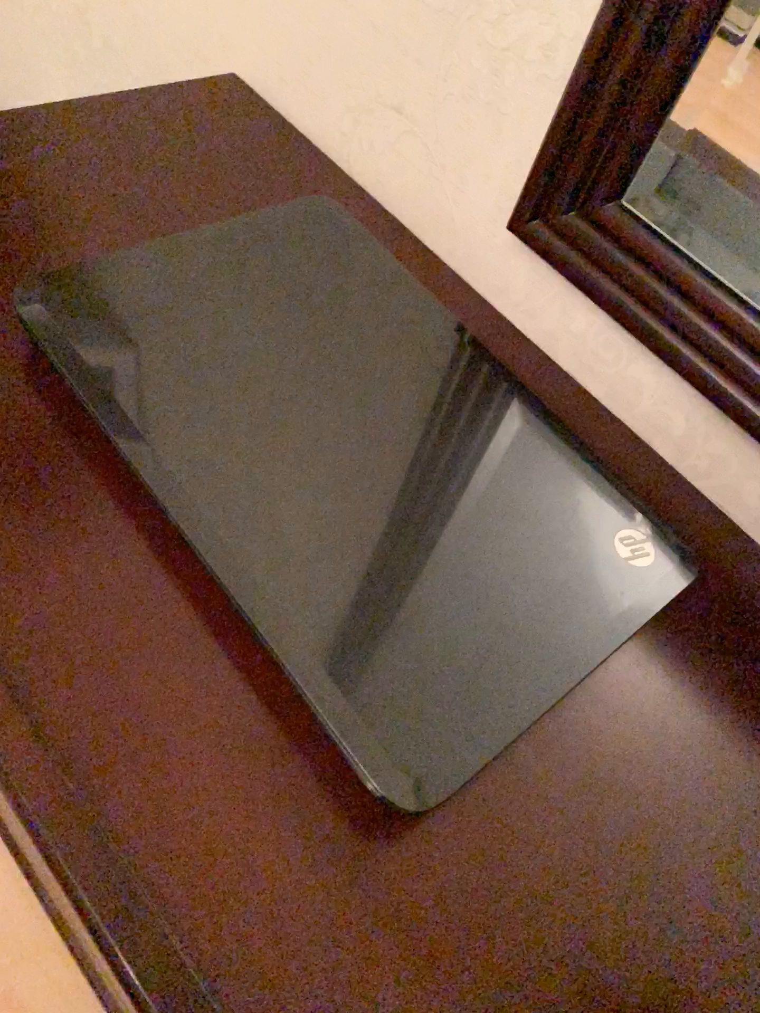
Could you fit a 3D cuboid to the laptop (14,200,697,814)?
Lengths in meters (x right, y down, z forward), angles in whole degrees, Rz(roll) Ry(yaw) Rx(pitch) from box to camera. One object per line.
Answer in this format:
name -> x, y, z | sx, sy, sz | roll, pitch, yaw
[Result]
laptop -> -0.013, -0.043, 0.434 | 0.222, 0.003, 0.345 | -29, 68, -31
